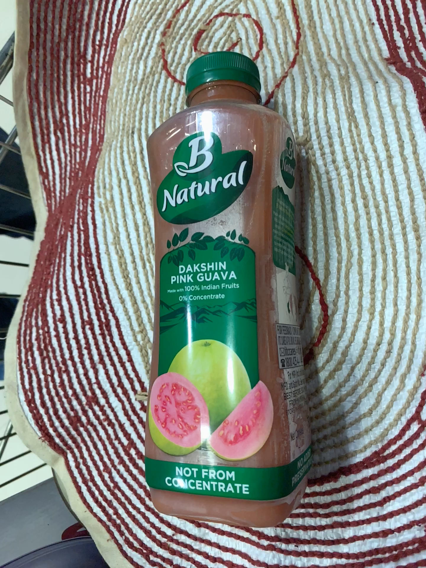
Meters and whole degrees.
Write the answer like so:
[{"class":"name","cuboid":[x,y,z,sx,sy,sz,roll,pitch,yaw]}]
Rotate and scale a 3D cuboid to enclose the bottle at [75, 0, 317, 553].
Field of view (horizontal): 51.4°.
[{"class":"bottle","cuboid":[-0.004,-0.015,0.194,0.080,0.060,0.210,-4,81,23]}]
